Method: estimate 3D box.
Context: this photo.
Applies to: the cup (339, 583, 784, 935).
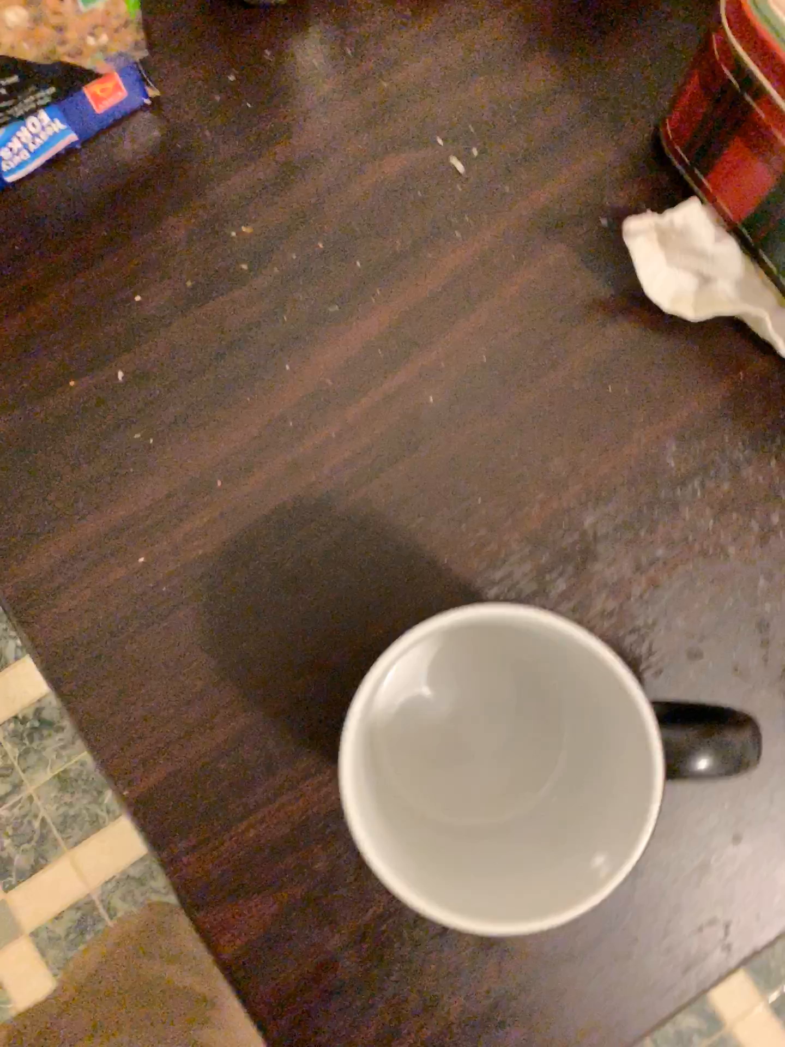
[{"bbox_3d":[0.053,0.064,0.250,0.130,0.100,0.080,-2,83,0],"label":"cup"}]
